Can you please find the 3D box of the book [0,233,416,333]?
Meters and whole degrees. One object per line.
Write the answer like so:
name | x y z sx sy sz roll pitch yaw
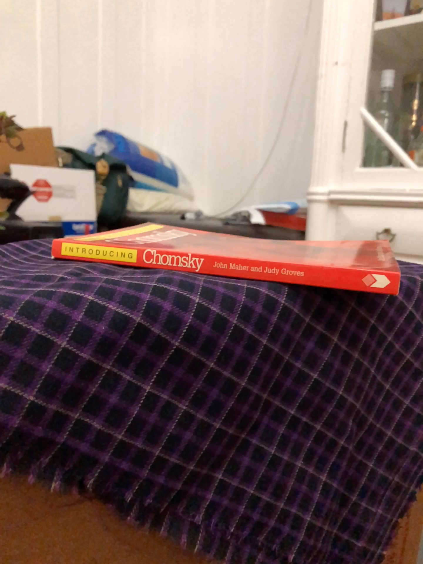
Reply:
book | -0.003 -0.012 0.321 0.240 0.020 0.180 5 10 16
